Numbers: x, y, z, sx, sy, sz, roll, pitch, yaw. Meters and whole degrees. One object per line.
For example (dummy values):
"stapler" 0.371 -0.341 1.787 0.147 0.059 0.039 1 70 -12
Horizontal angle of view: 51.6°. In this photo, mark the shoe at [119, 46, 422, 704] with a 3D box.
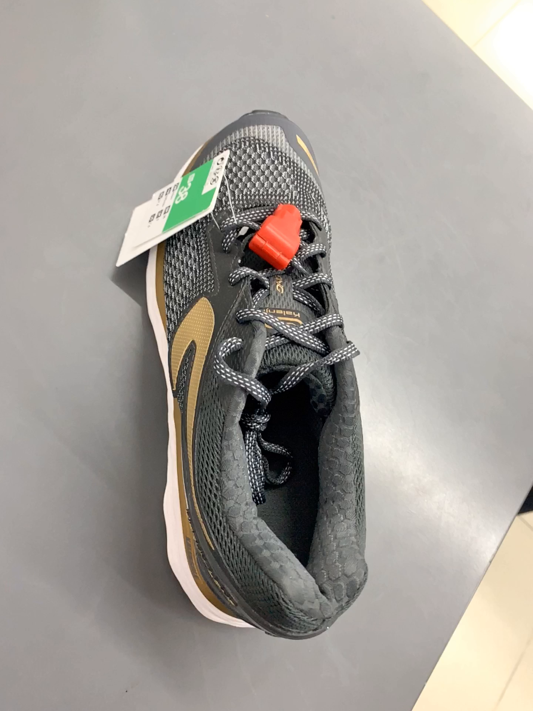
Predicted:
"shoe" -0.005 0.004 0.253 0.100 0.090 0.240 5 75 -17
